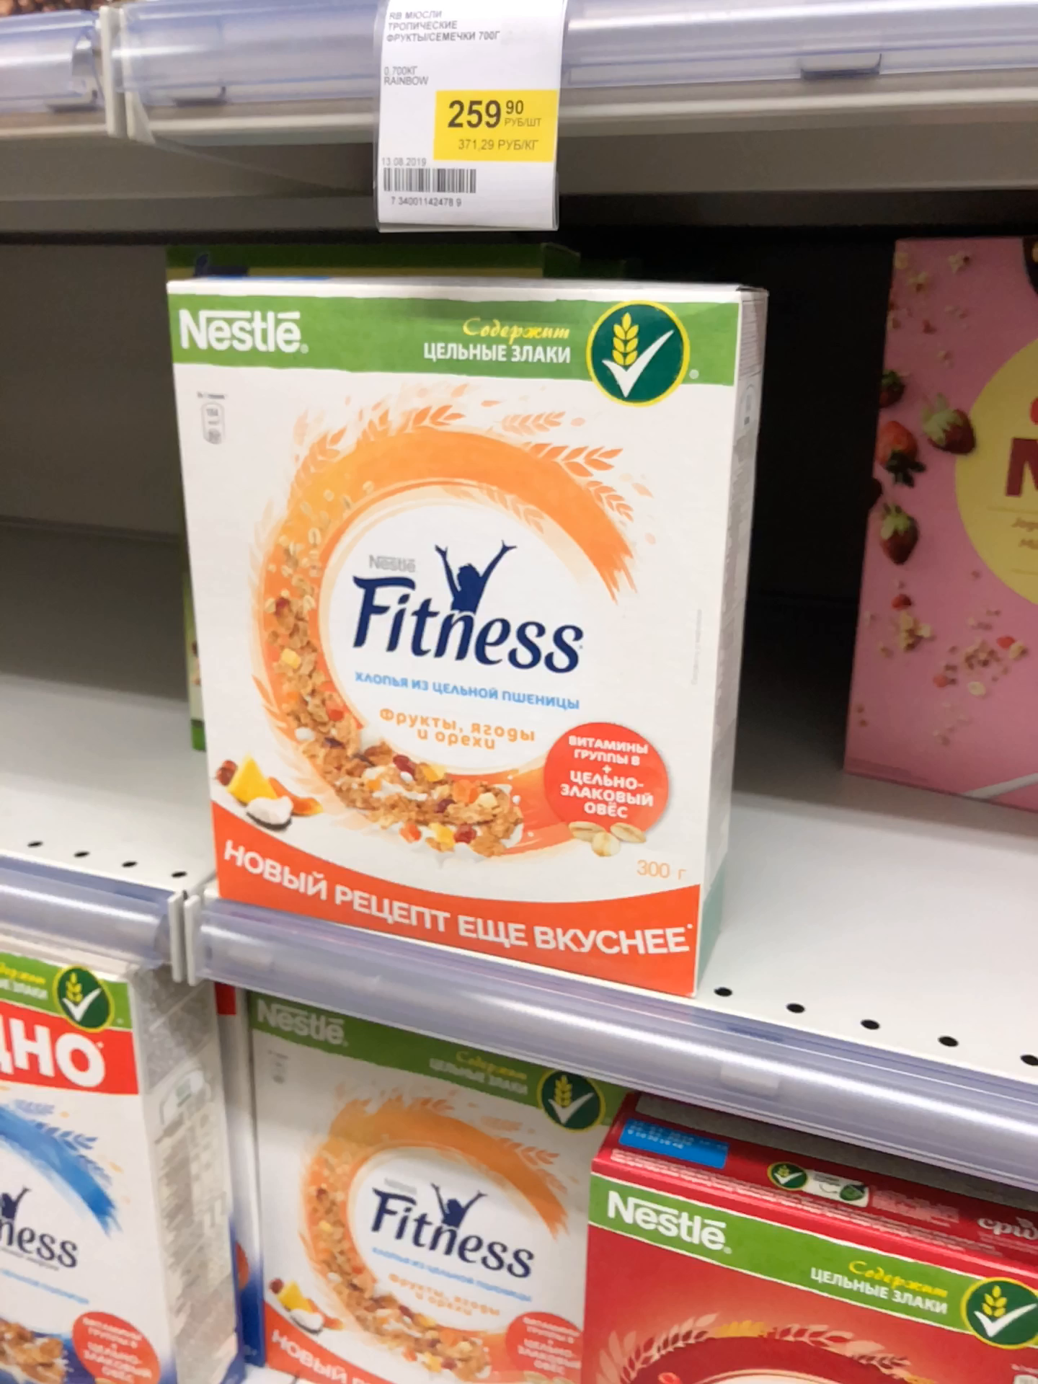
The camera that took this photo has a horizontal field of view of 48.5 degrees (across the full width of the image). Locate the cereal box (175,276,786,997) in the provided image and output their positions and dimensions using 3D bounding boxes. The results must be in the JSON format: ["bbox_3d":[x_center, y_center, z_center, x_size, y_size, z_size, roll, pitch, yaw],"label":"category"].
[{"bbox_3d":[-0.015,-0.024,0.406,0.190,0.229,0.050,7,21,19],"label":"cereal box"}]
